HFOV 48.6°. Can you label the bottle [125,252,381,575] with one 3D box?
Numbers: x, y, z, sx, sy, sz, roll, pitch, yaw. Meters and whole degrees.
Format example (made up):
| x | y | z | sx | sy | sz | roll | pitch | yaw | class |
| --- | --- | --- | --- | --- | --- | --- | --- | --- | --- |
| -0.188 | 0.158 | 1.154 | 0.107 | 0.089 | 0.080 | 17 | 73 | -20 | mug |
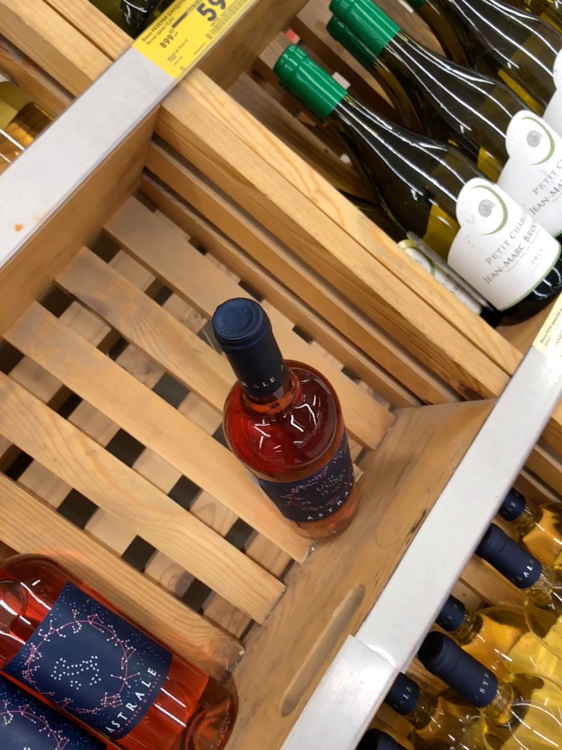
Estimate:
| x | y | z | sx | sy | sz | roll | pitch | yaw | class |
| --- | --- | --- | --- | --- | --- | --- | --- | --- | --- |
| 0.005 | 0.052 | 0.420 | 0.080 | 0.289 | 0.080 | -5 | 62 | 9 | bottle |
